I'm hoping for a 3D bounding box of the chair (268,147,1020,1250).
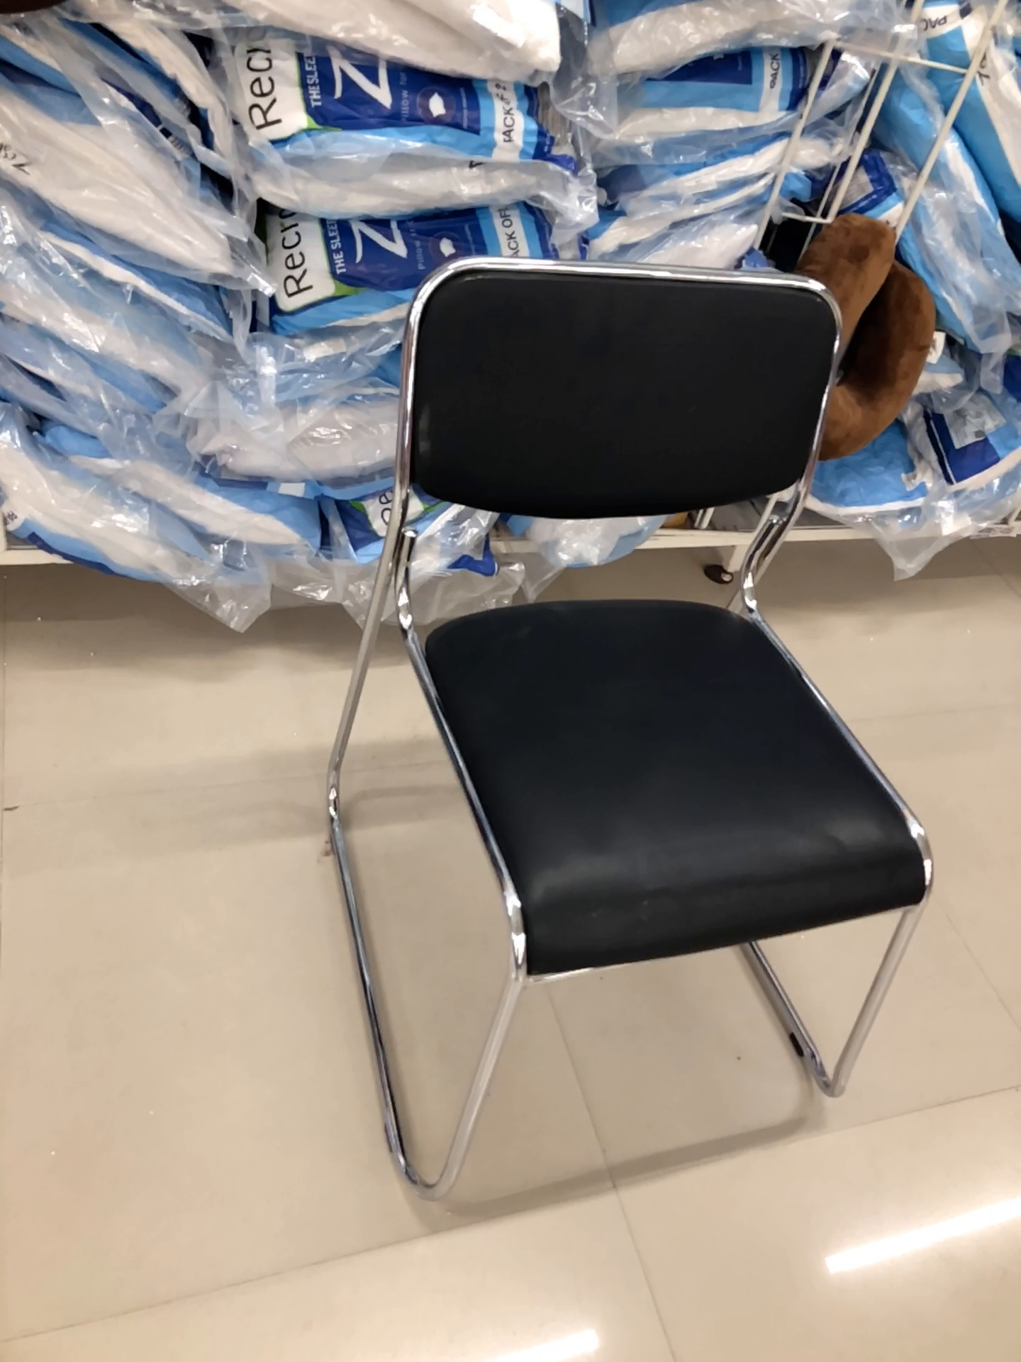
[{"bbox_3d":[0.124,0.040,1.070,0.572,0.794,0.562,-4,46,-21],"label":"chair"}]
